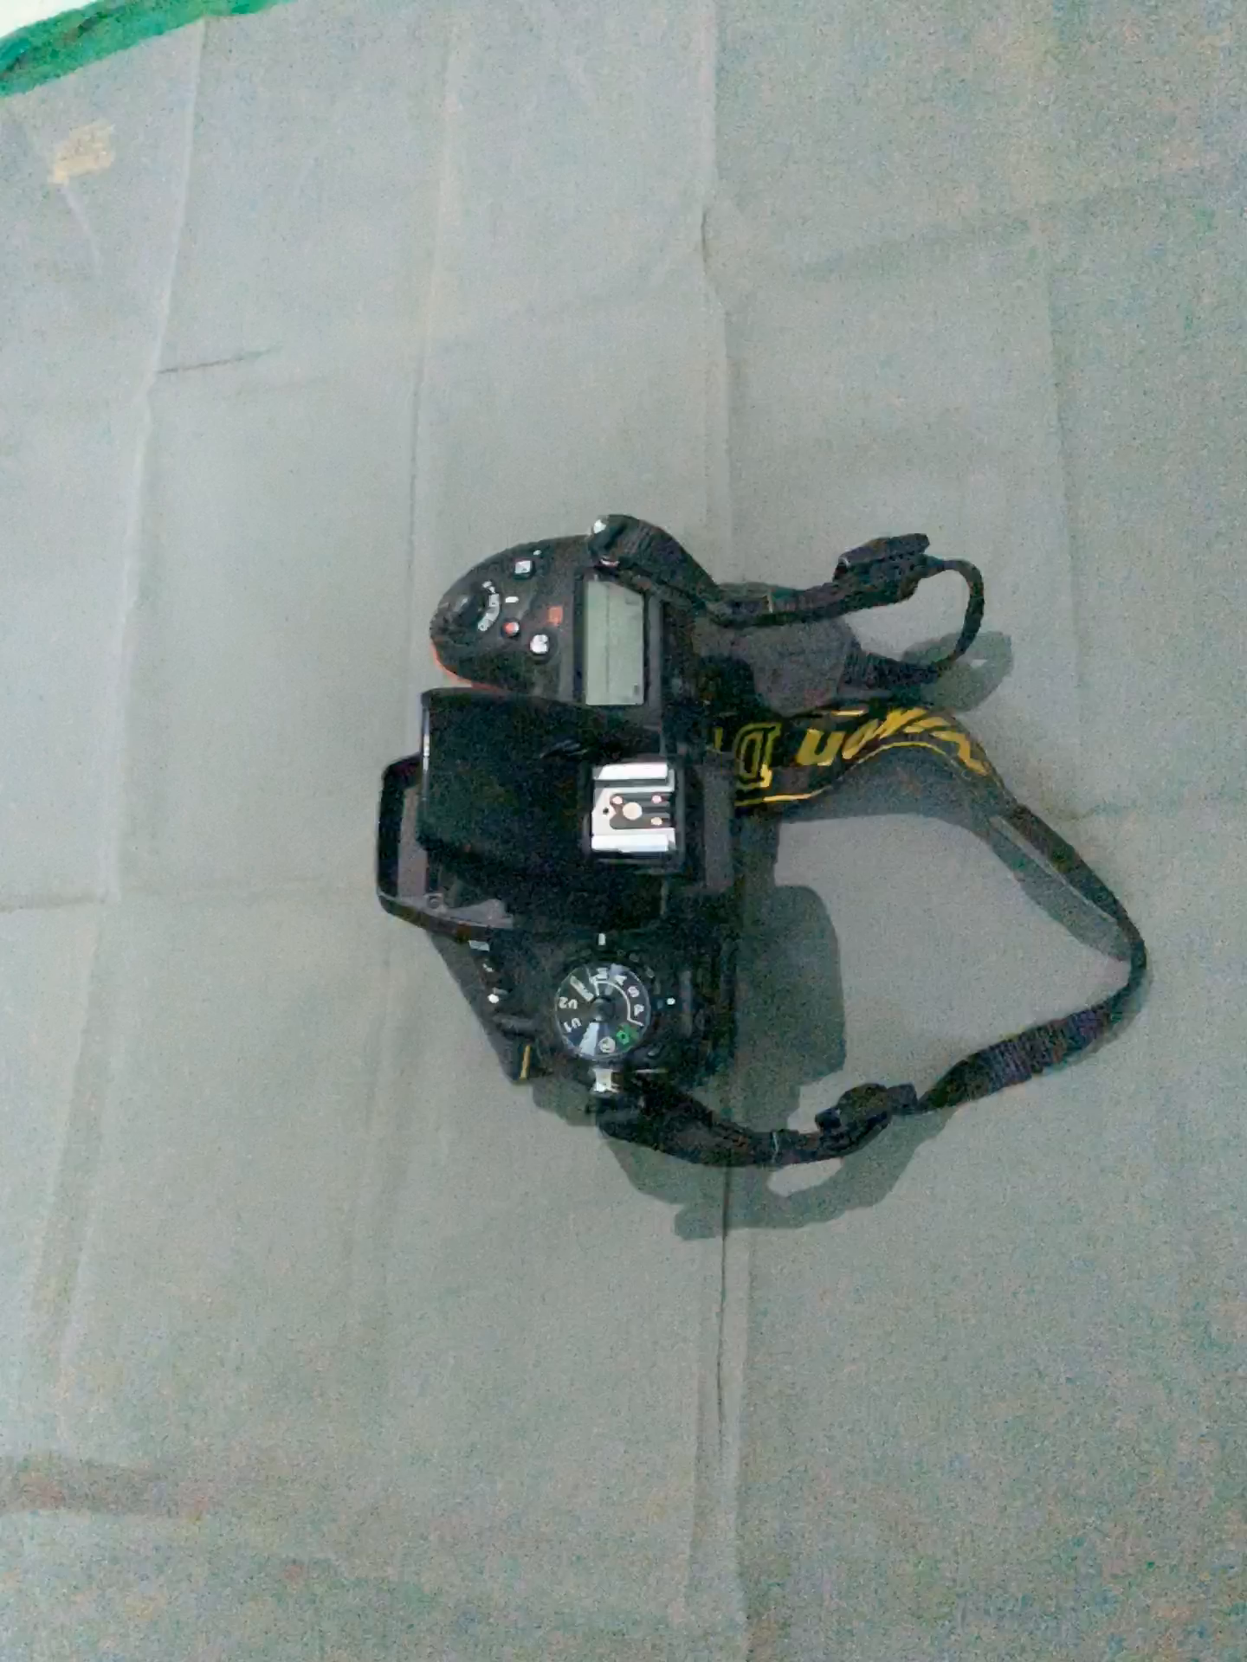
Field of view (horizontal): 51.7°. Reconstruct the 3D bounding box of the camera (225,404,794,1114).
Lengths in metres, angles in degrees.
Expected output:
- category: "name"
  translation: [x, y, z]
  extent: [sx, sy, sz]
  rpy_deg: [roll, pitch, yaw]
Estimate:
- category: "camera"
  translation: [-0.015, -0.005, 0.326]
  extent: [0.100, 0.126, 0.140]
  rpy_deg: [-2, 74, 14]
